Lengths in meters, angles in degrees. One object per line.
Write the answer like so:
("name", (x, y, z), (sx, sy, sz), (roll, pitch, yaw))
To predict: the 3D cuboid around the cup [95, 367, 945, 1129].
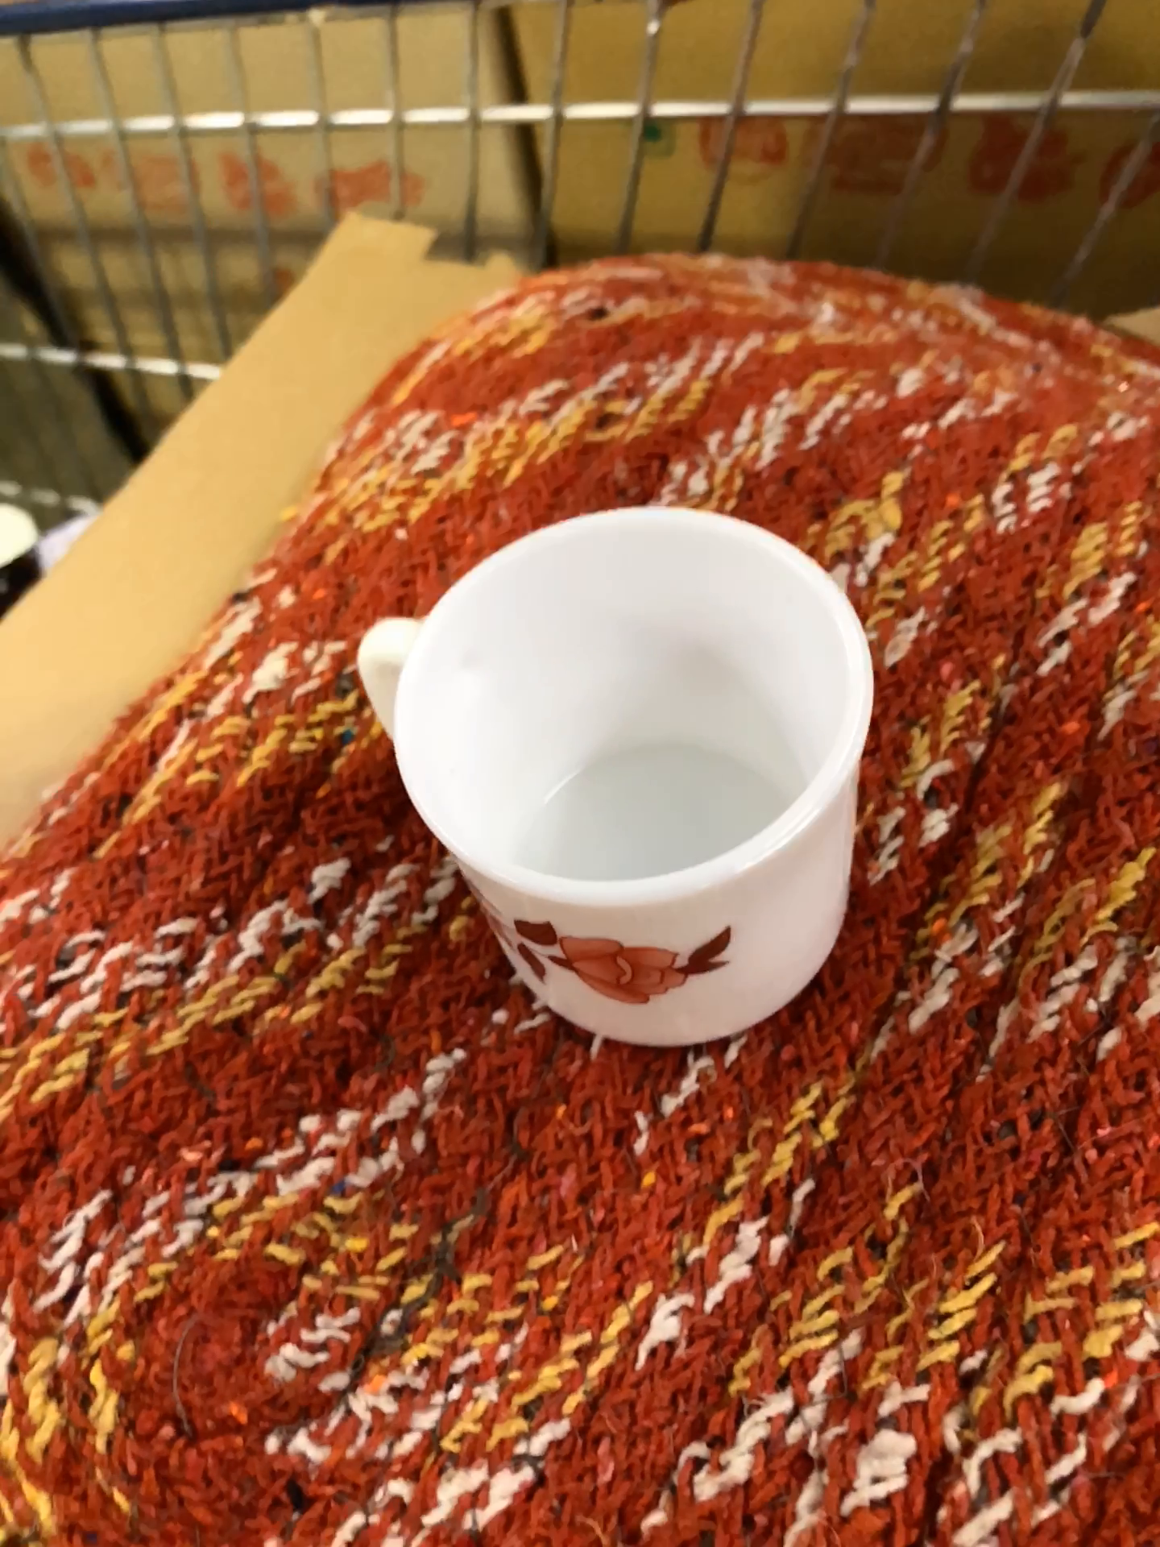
("cup", (-0.005, -0.006, 0.188), (0.090, 0.060, 0.060), (22, 63, 23))
